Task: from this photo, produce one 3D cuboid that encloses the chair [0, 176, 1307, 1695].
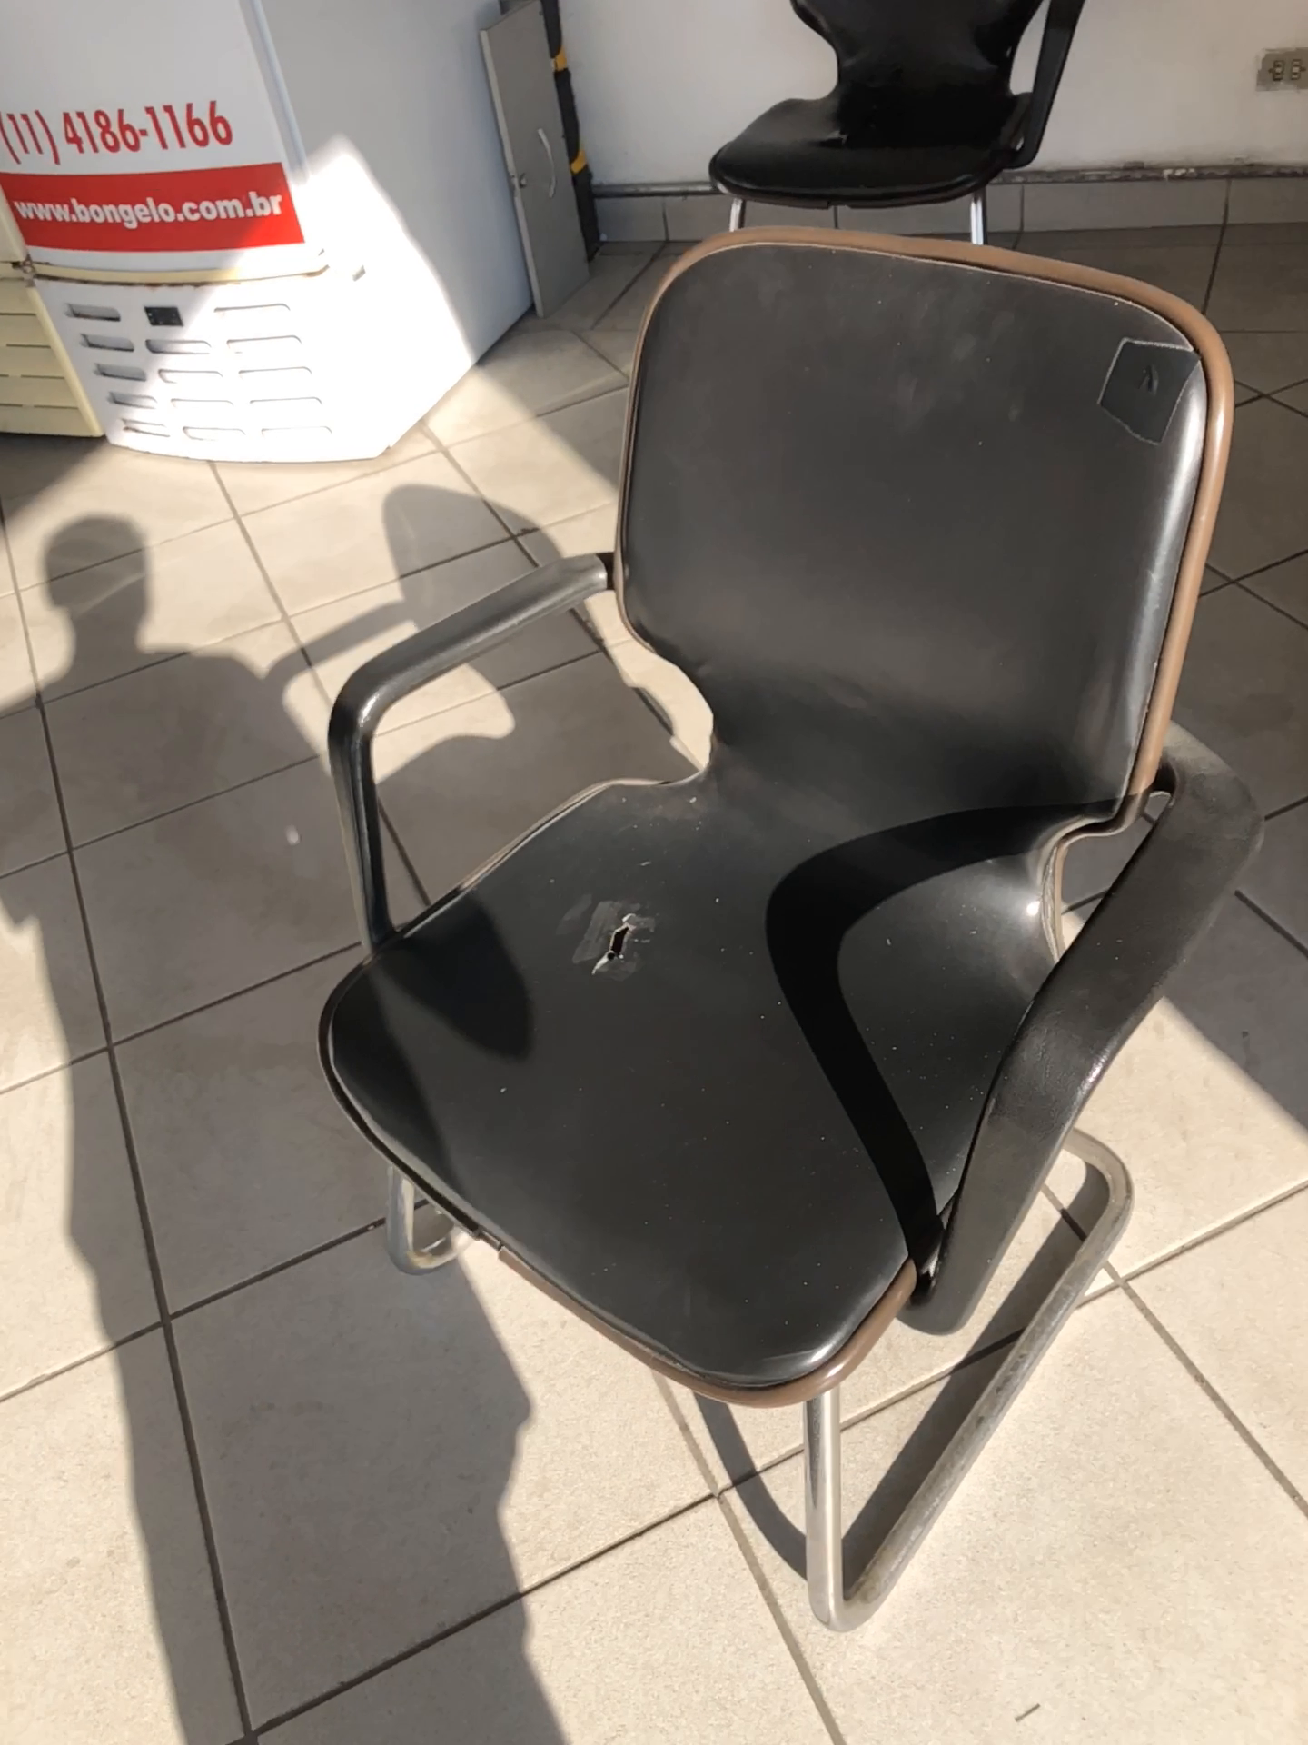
[{"bbox_3d":[0.067,0.029,1.096,0.582,0.824,0.582,27,54,35],"label":"chair"}]
